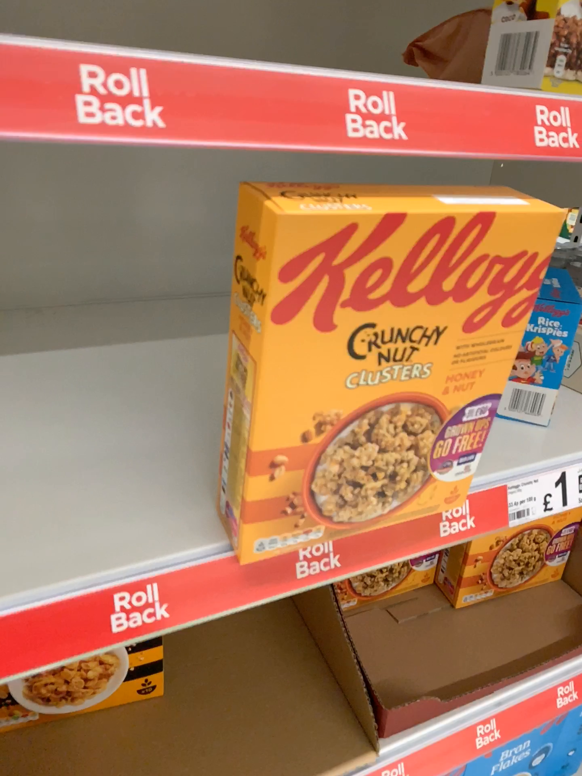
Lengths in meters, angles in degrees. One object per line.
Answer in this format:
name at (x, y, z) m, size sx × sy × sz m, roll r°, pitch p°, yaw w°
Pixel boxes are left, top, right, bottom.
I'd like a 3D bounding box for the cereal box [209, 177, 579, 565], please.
cereal box at (0.057, -0.012, 0.391) m, size 0.201 × 0.228 × 0.060 m, roll -8°, pitch 33°, yaw -25°
